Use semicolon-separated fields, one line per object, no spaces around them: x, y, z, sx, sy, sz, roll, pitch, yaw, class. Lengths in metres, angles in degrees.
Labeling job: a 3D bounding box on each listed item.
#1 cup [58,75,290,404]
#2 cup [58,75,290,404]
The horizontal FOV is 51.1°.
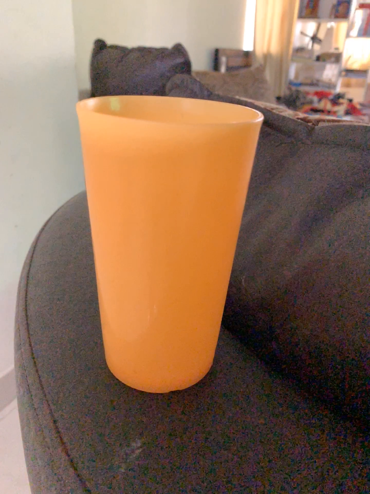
-0.006;-0.005;0.176;0.070;0.129;0.071;1;26;-1;cup
-0.006;-0.005;0.176;0.070;0.129;0.071;1;26;-1;cup
